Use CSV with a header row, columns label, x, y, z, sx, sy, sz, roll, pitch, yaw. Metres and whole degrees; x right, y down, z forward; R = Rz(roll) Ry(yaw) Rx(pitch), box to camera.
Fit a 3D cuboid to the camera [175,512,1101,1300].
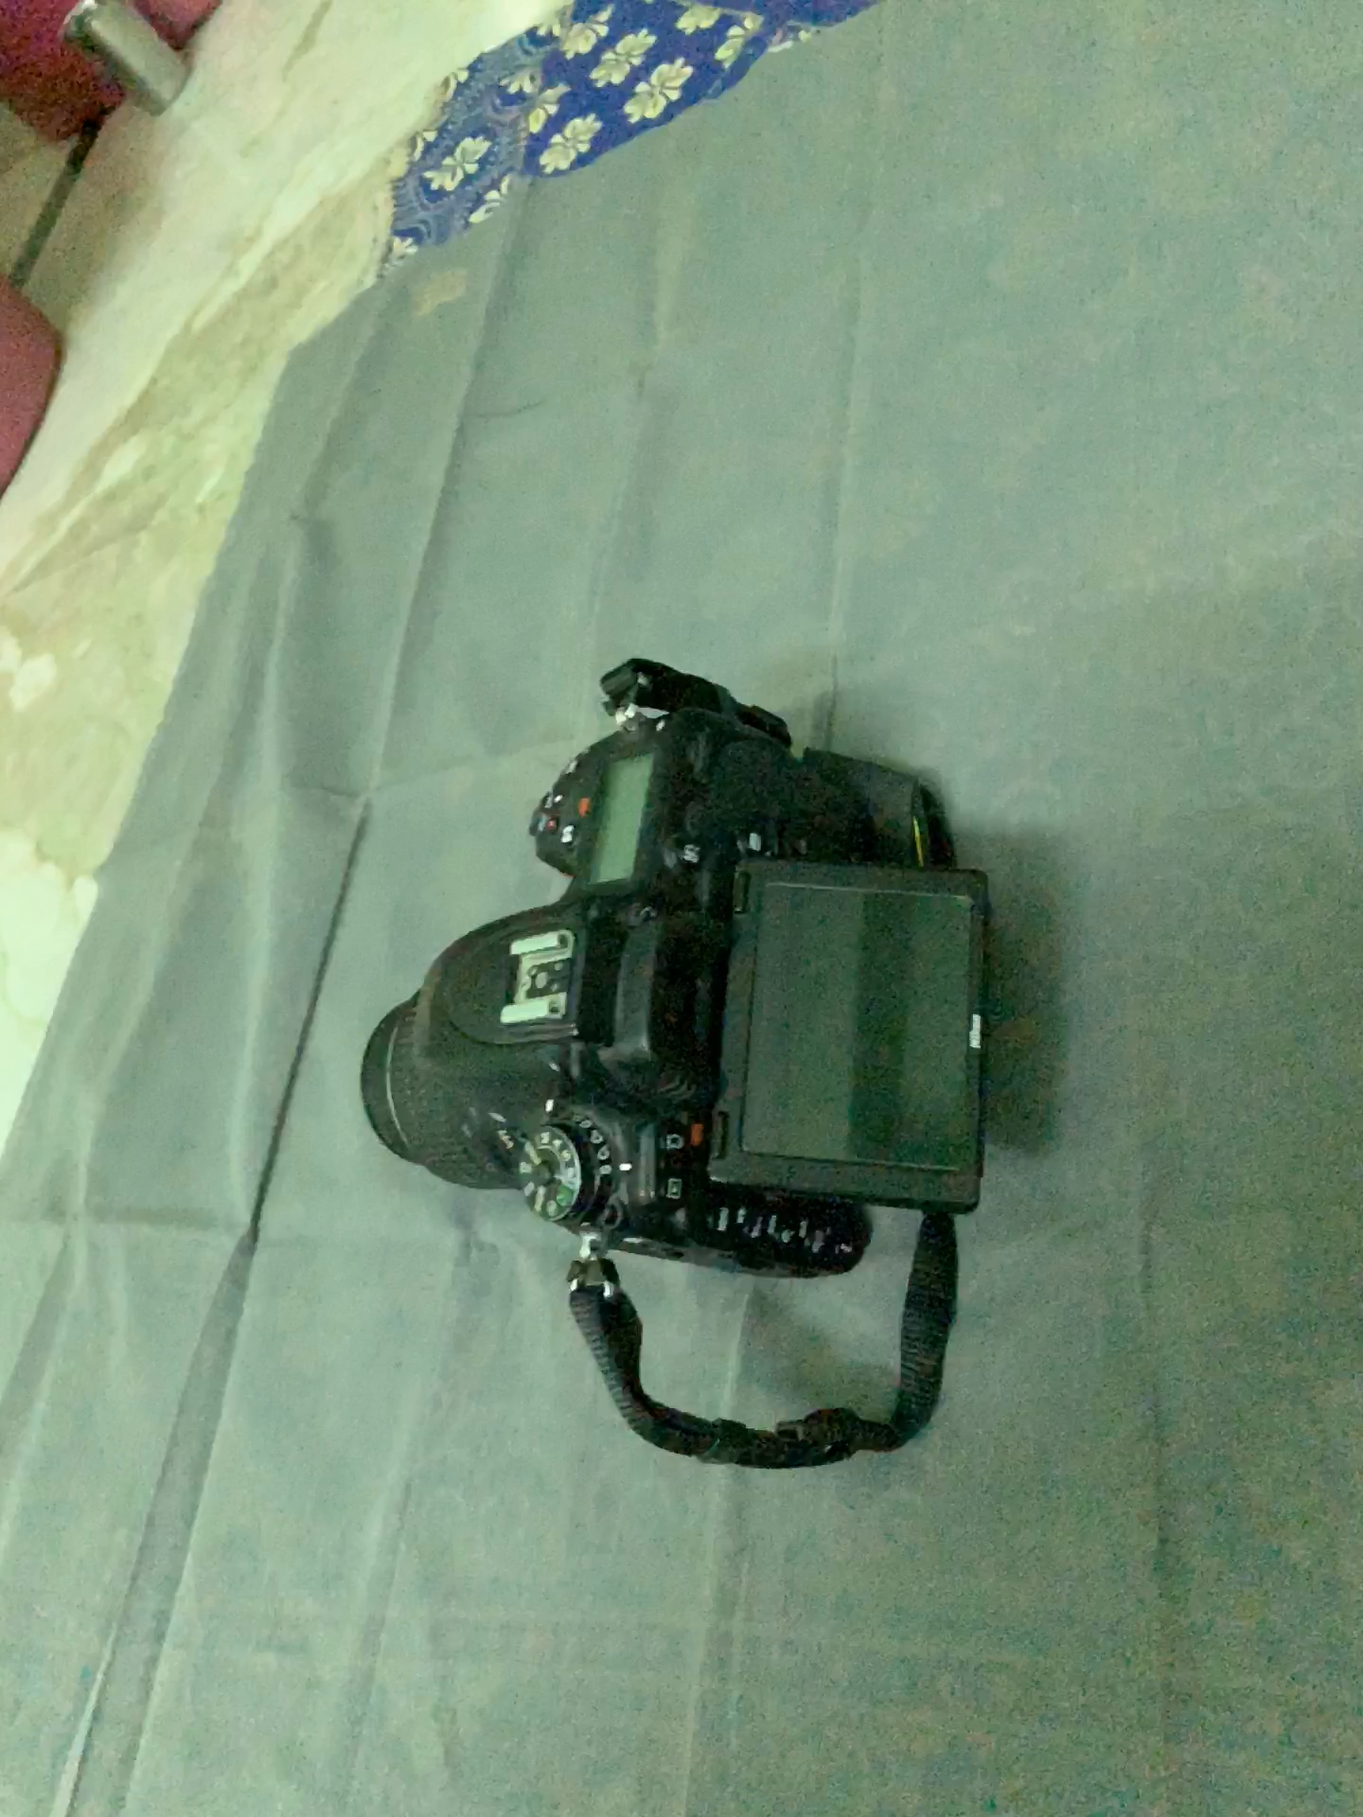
label,x,y,z,sx,sy,sz,roll,pitch,yaw
camera,-0.011,0.016,0.407,0.231,0.100,0.165,-12,57,33
